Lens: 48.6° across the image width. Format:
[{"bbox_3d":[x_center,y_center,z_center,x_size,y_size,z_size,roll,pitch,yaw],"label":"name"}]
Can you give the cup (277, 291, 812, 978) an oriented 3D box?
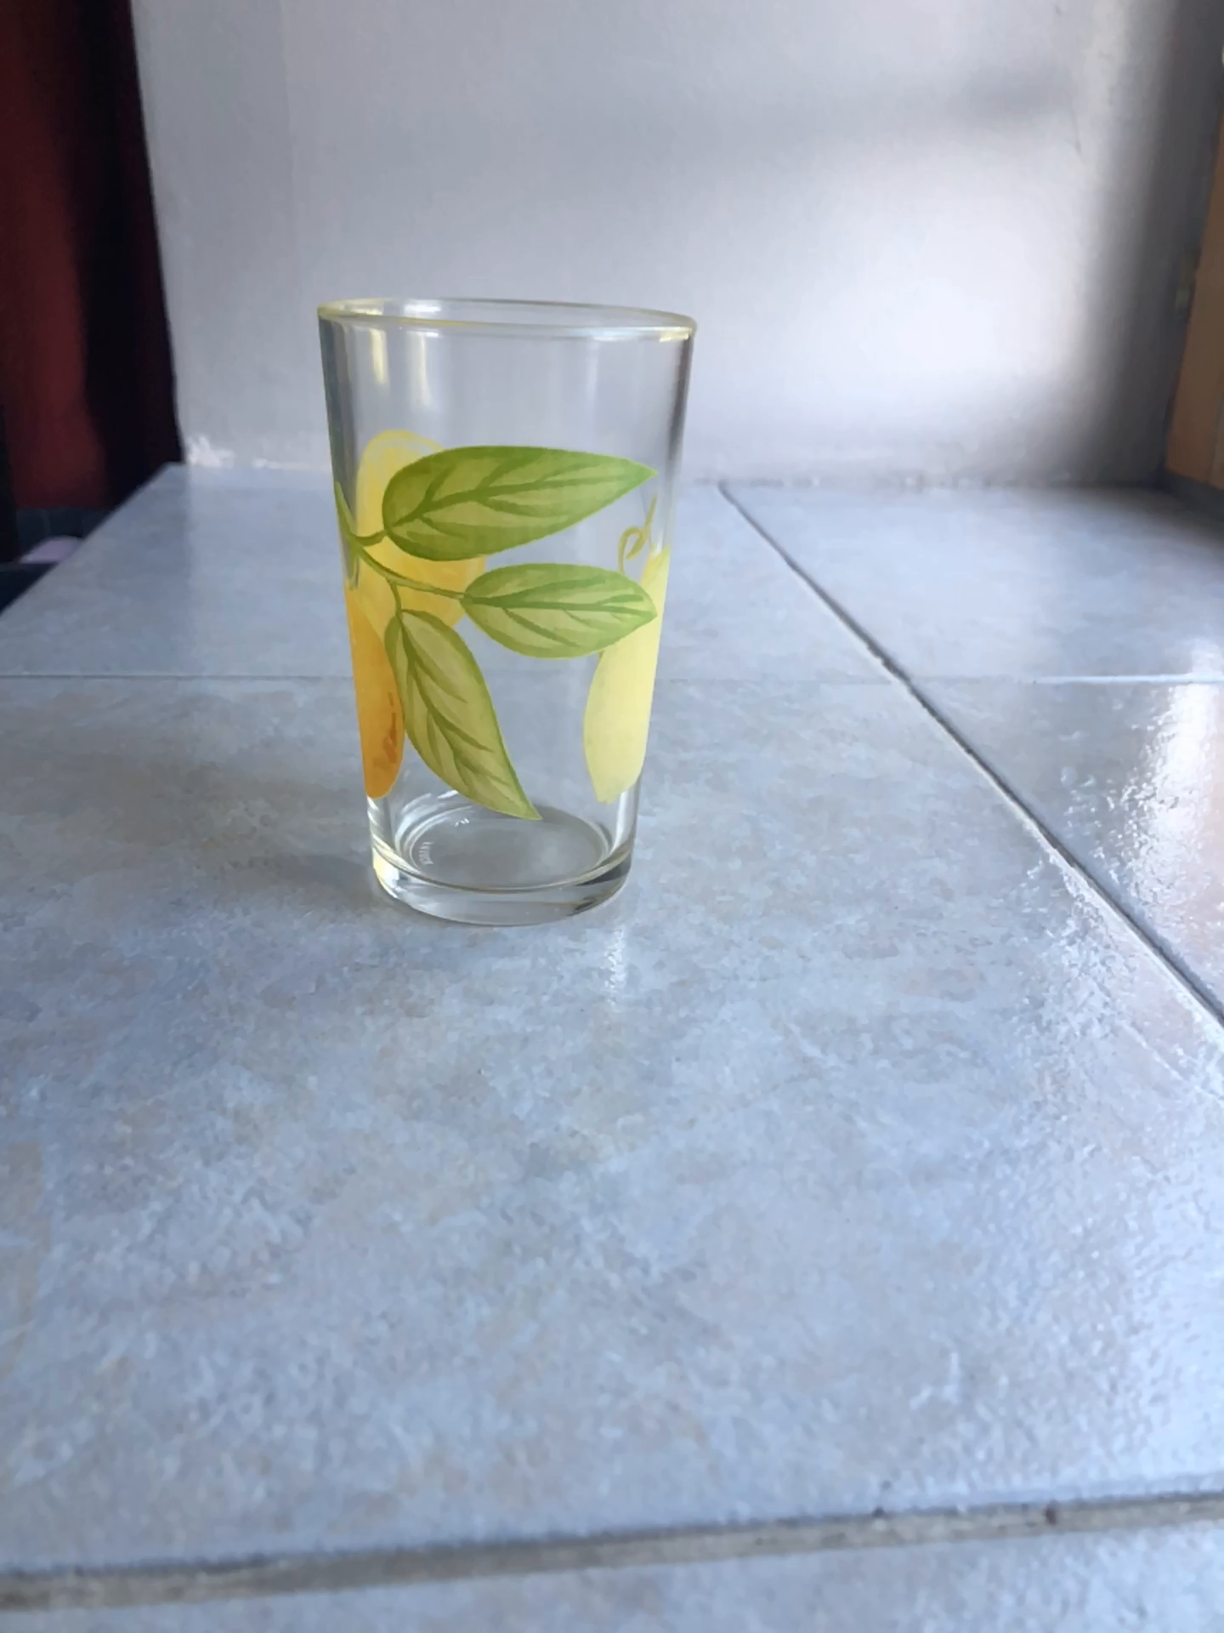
[{"bbox_3d":[-0.013,-0.042,0.270,0.070,0.112,0.070,0,23,0],"label":"cup"}]
